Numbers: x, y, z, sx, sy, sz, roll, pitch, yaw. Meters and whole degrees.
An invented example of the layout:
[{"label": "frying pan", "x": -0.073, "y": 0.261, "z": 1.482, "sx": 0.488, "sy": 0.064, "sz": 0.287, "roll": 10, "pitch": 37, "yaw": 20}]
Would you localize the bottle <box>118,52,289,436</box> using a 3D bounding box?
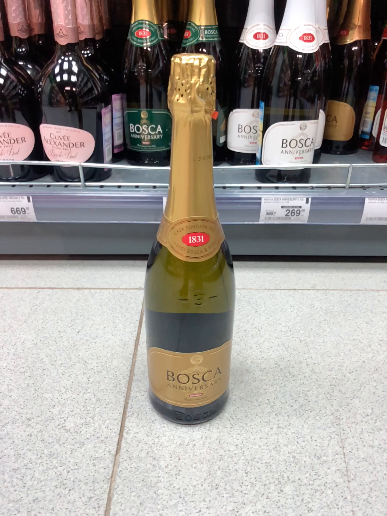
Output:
[{"label": "bottle", "x": 0.001, "y": 0.000, "z": 0.367, "sx": 0.100, "sy": 0.314, "sz": 0.101, "roll": 0, "pitch": 28, "yaw": 0}]
